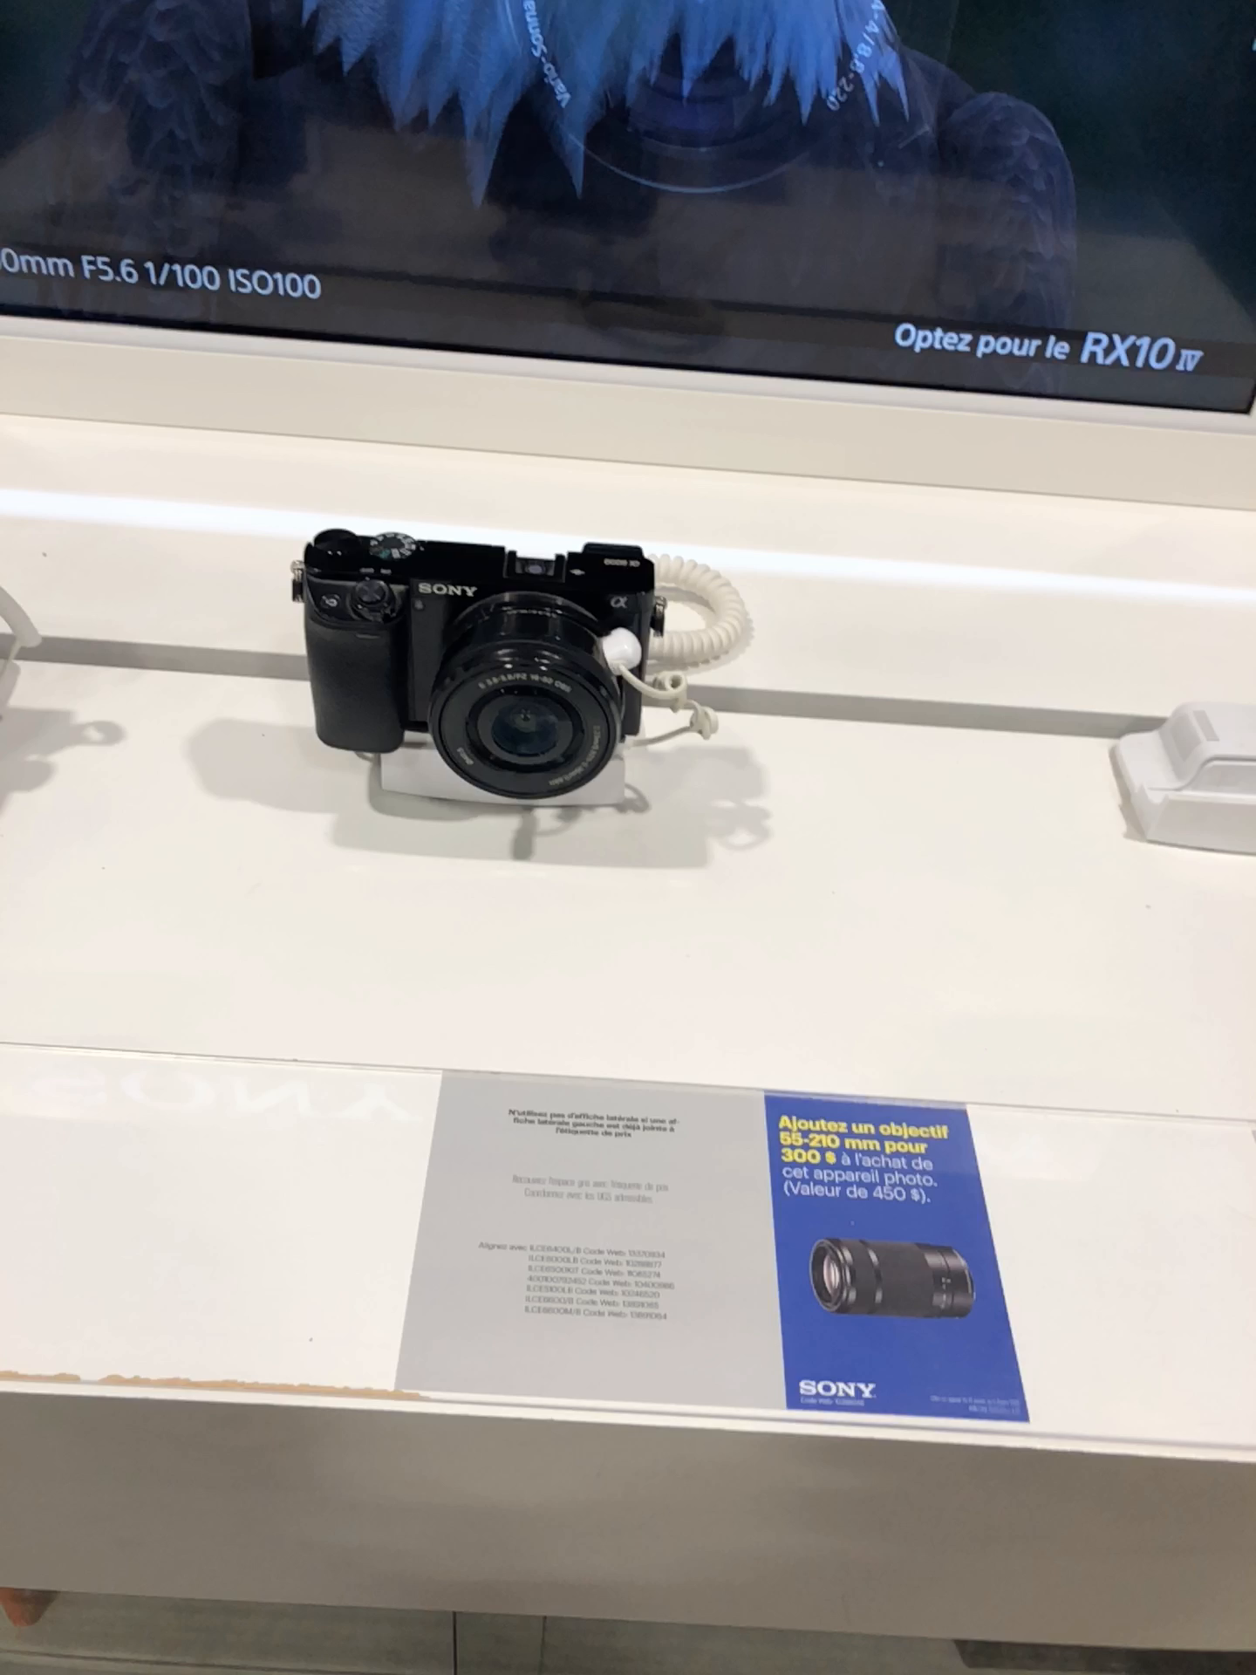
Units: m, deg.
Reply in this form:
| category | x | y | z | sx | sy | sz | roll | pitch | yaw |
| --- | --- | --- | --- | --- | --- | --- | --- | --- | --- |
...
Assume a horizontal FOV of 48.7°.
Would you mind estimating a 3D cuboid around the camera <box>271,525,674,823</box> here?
| category | x | y | z | sx | sy | sz | roll | pitch | yaw |
| --- | --- | --- | --- | --- | --- | --- | --- | --- | --- |
| camera | -0.052 | -0.058 | 0.498 | 0.130 | 0.077 | 0.065 | 2 | 41 | -2 |
